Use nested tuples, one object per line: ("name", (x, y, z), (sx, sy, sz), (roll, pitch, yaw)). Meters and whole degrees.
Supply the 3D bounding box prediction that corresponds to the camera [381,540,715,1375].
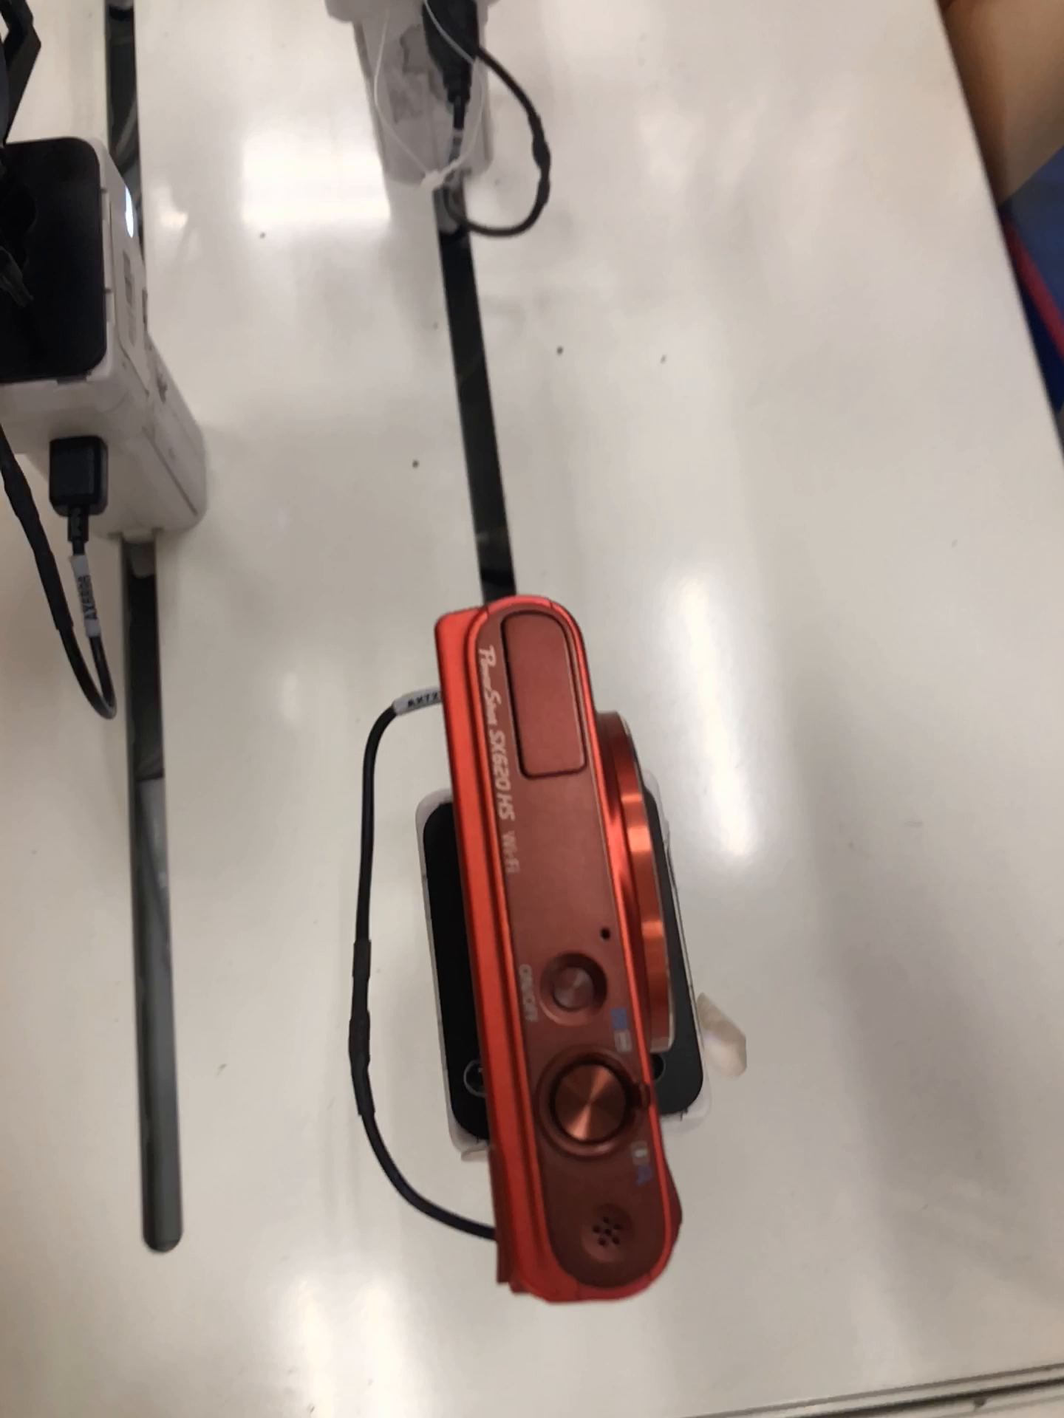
("camera", (0.001, 0.037, 0.192), (0.030, 0.060, 0.110), (-8, 73, -2))
